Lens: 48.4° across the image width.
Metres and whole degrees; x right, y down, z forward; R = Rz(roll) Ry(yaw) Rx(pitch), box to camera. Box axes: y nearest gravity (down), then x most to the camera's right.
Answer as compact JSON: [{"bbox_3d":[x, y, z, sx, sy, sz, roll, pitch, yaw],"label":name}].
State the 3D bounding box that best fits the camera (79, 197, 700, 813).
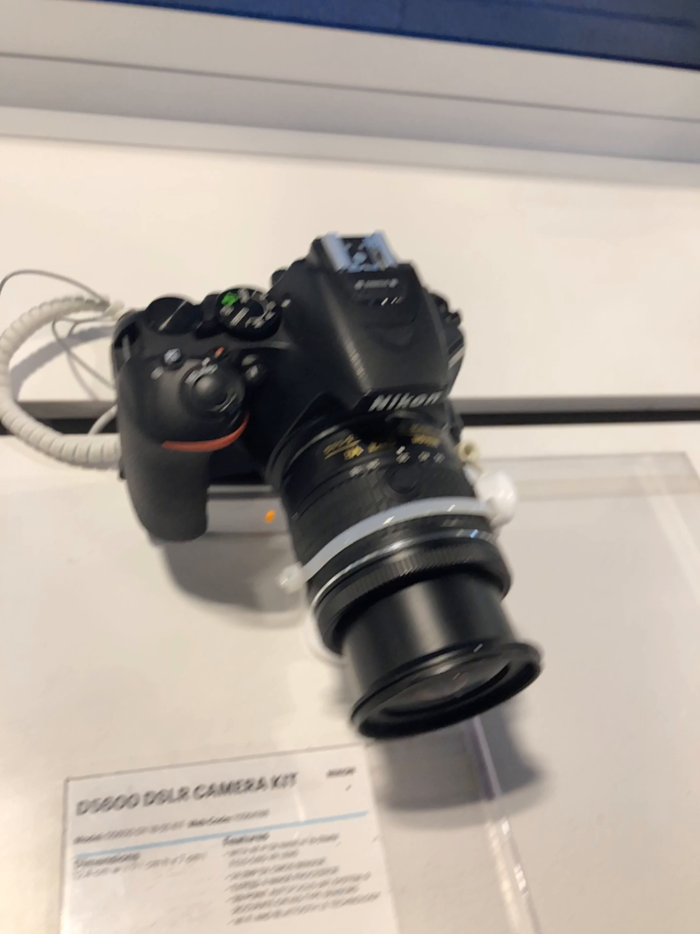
[{"bbox_3d":[-0.005,0.001,0.242,0.130,0.090,0.151,-7,54,-18],"label":"camera"}]
